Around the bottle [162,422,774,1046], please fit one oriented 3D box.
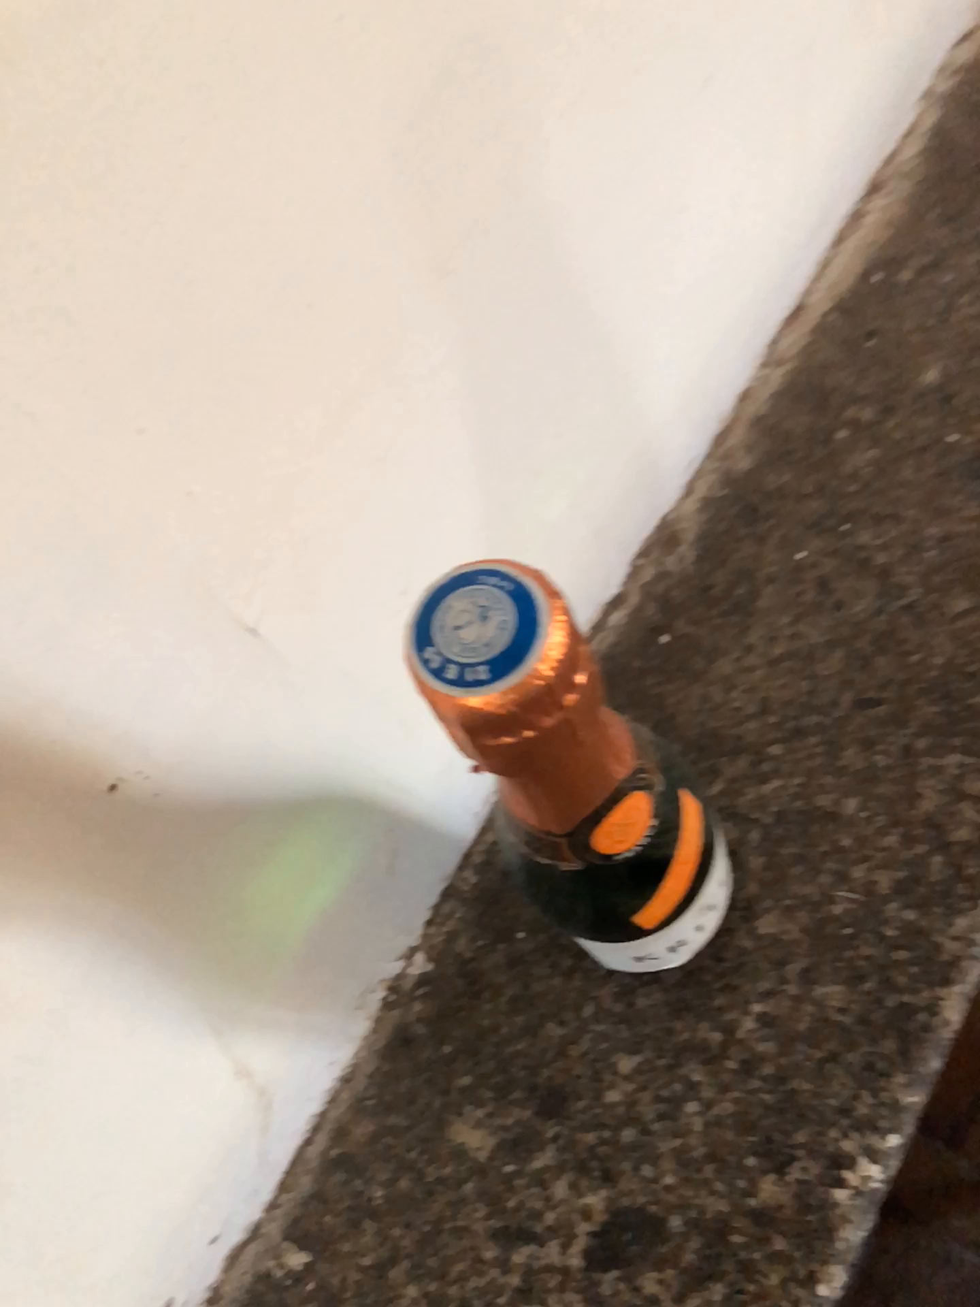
[{"bbox_3d":[0.016,0.038,0.262,0.070,0.200,0.060,28,77,27],"label":"bottle"}]
